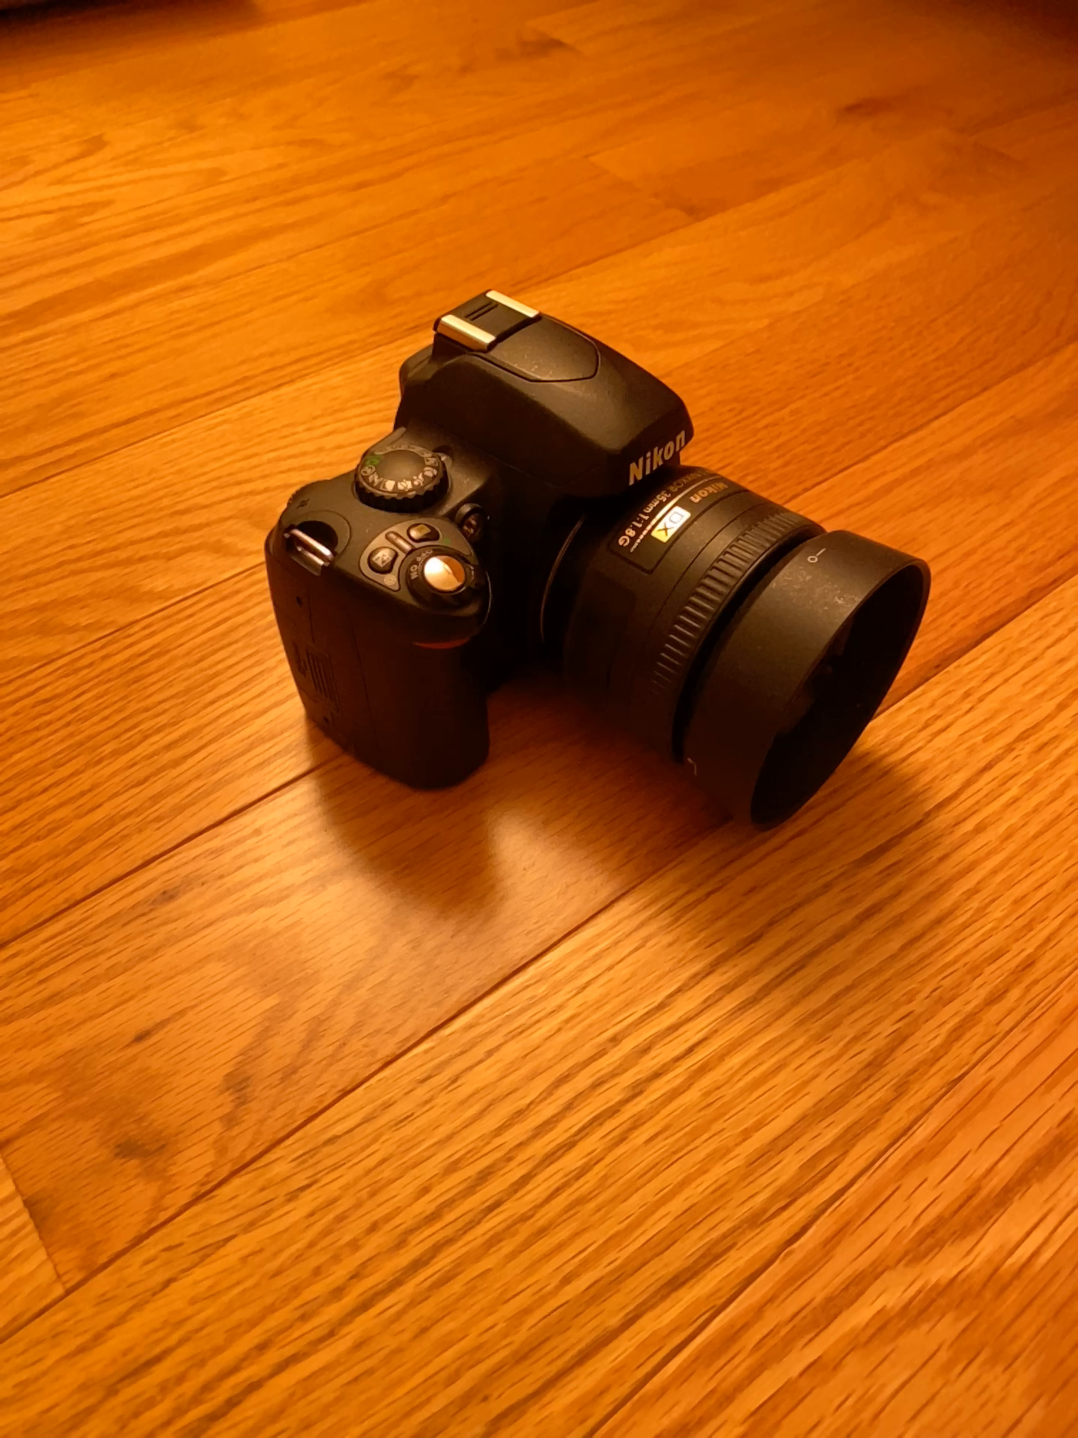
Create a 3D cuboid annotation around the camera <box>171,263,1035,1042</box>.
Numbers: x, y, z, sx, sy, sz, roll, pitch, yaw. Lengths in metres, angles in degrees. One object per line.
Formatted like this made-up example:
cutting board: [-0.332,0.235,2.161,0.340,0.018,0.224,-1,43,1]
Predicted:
camera: [0.014,-0.028,0.277,0.140,0.080,0.130,35,58,26]
